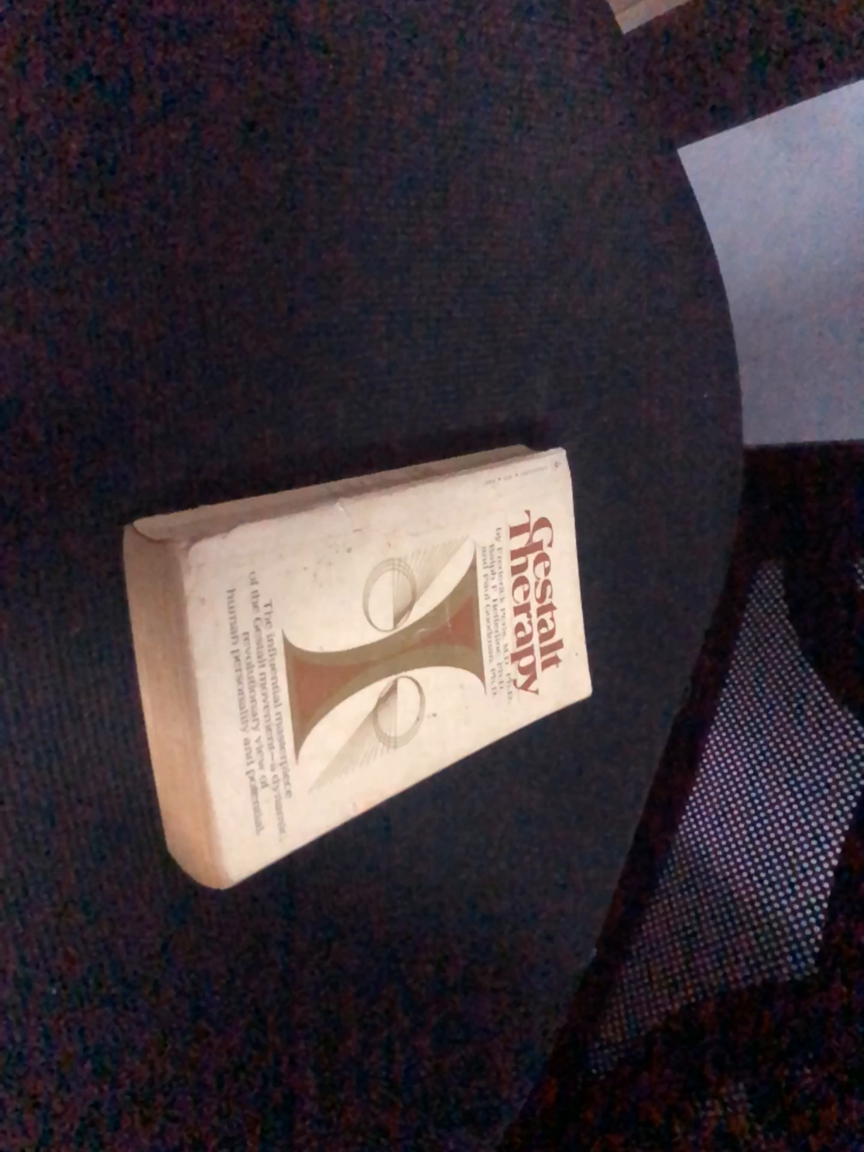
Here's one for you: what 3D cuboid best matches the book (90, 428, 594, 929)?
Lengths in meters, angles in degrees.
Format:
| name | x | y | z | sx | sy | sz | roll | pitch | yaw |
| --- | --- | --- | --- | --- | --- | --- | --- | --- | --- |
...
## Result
| name | x | y | z | sx | sy | sz | roll | pitch | yaw |
| --- | --- | --- | --- | --- | --- | --- | --- | --- | --- |
| book | -0.014 | 0.020 | 0.333 | 0.184 | 0.034 | 0.120 | -18 | 107 | -44 |
